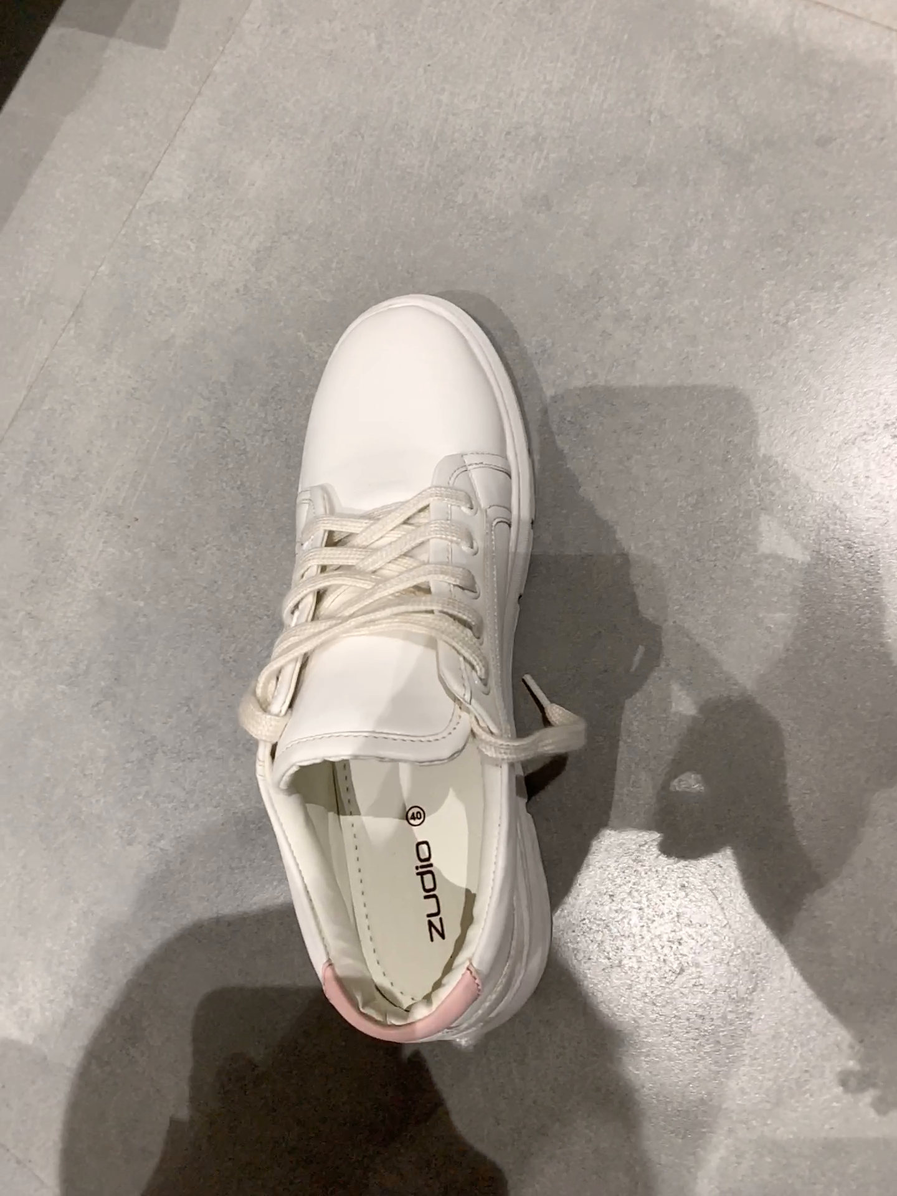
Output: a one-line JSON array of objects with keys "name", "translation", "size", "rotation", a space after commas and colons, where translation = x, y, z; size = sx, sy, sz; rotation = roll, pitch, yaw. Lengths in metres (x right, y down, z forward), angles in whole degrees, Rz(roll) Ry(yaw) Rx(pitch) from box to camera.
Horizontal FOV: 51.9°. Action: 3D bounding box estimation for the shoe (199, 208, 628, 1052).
[{"name": "shoe", "translation": [-0.010, 0.013, 0.331], "size": [0.110, 0.100, 0.250], "rotation": [-8, 78, 13]}]
